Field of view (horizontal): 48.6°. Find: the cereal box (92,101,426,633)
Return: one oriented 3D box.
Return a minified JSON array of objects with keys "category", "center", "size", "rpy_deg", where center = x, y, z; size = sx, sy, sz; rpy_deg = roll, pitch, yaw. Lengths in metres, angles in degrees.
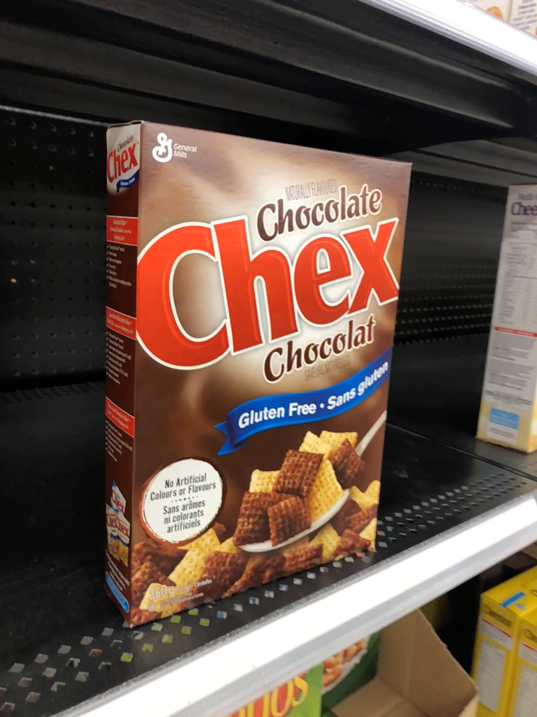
[{"category":"cereal box","center":[-0.004,0.005,0.379],"size":[0.200,0.279,0.050],"rpy_deg":[-4,14,-33]}]
